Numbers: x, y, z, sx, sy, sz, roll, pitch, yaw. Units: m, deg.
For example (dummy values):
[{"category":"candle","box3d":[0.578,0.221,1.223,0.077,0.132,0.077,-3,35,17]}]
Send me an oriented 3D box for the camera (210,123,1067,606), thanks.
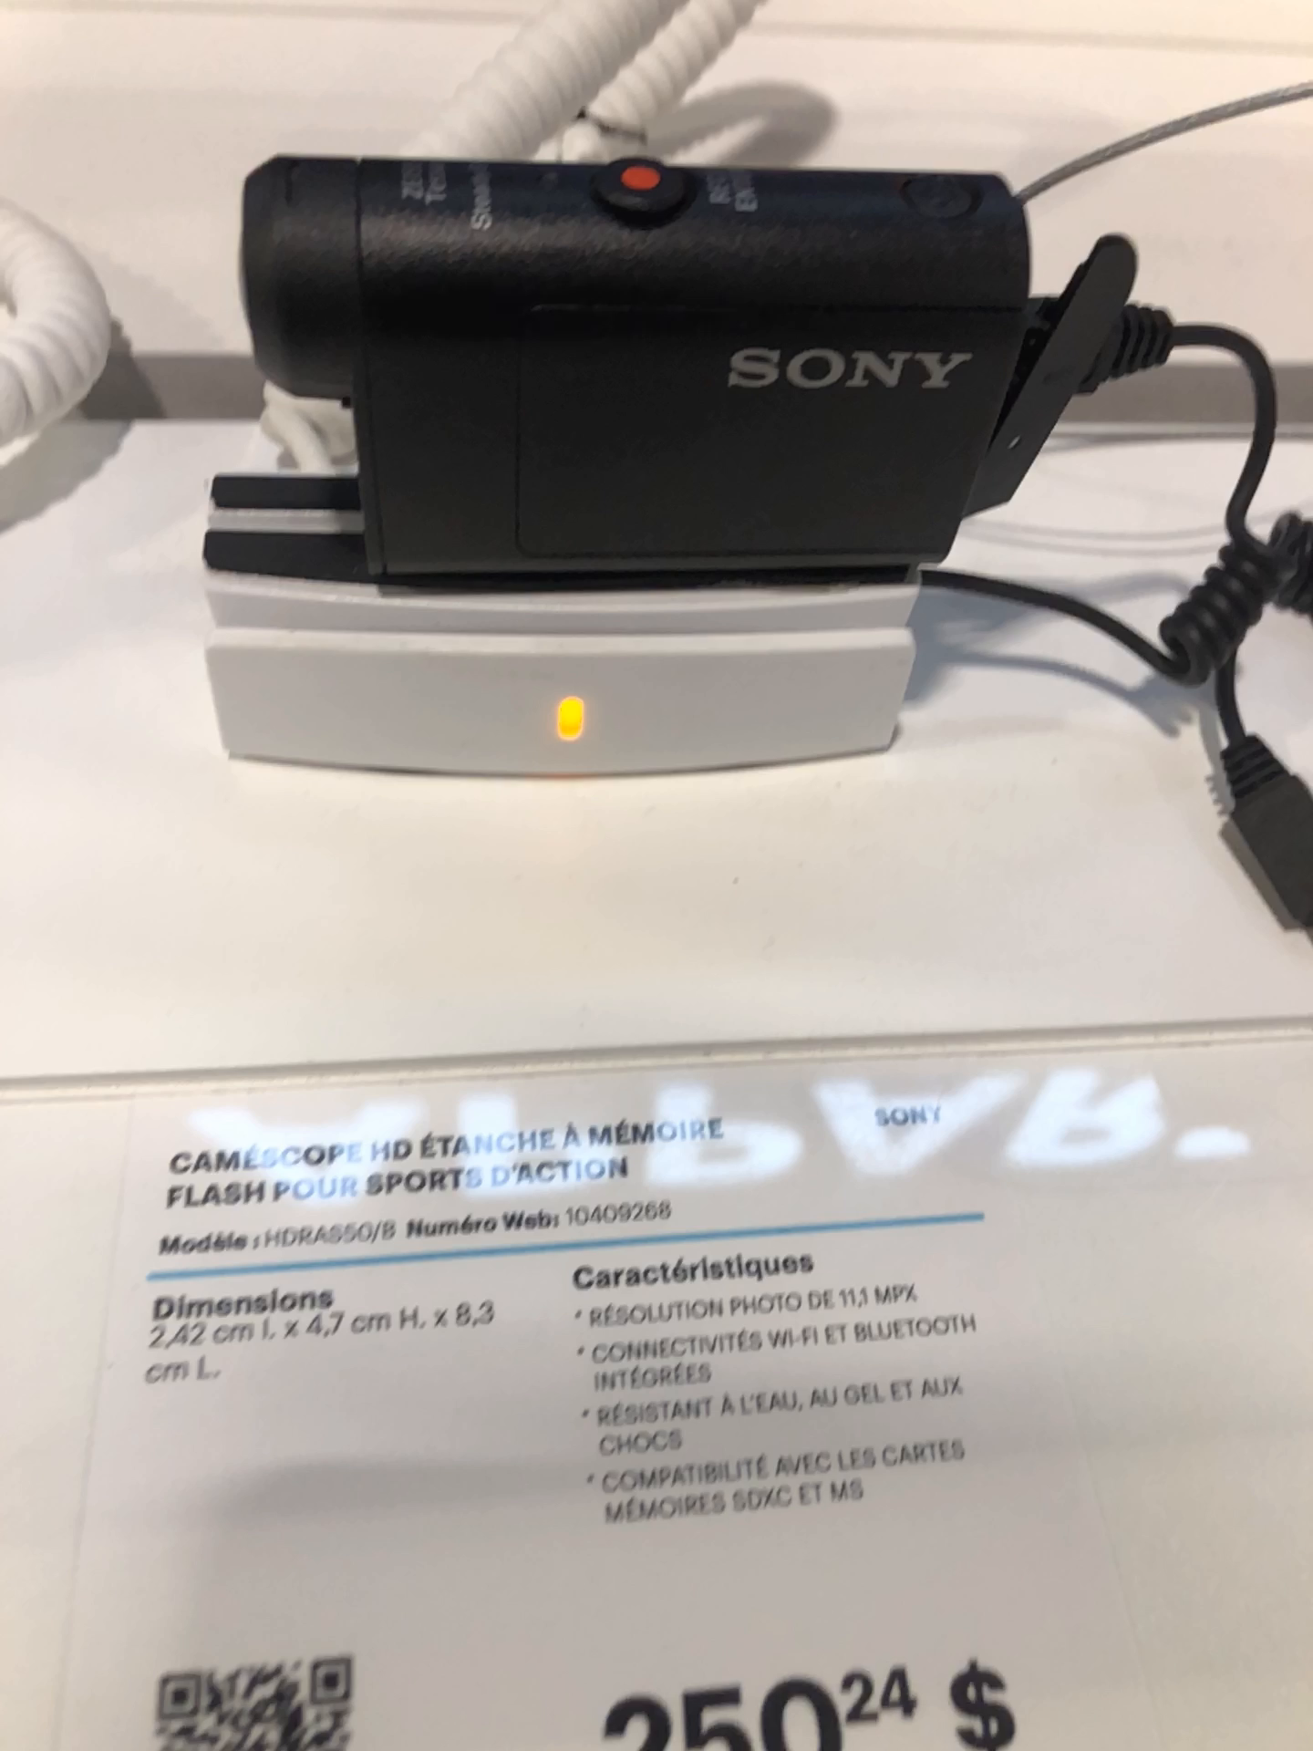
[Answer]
[{"category":"camera","box3d":[-0.003,-0.053,0.161,0.080,0.045,0.020,-2,52,-7]}]
